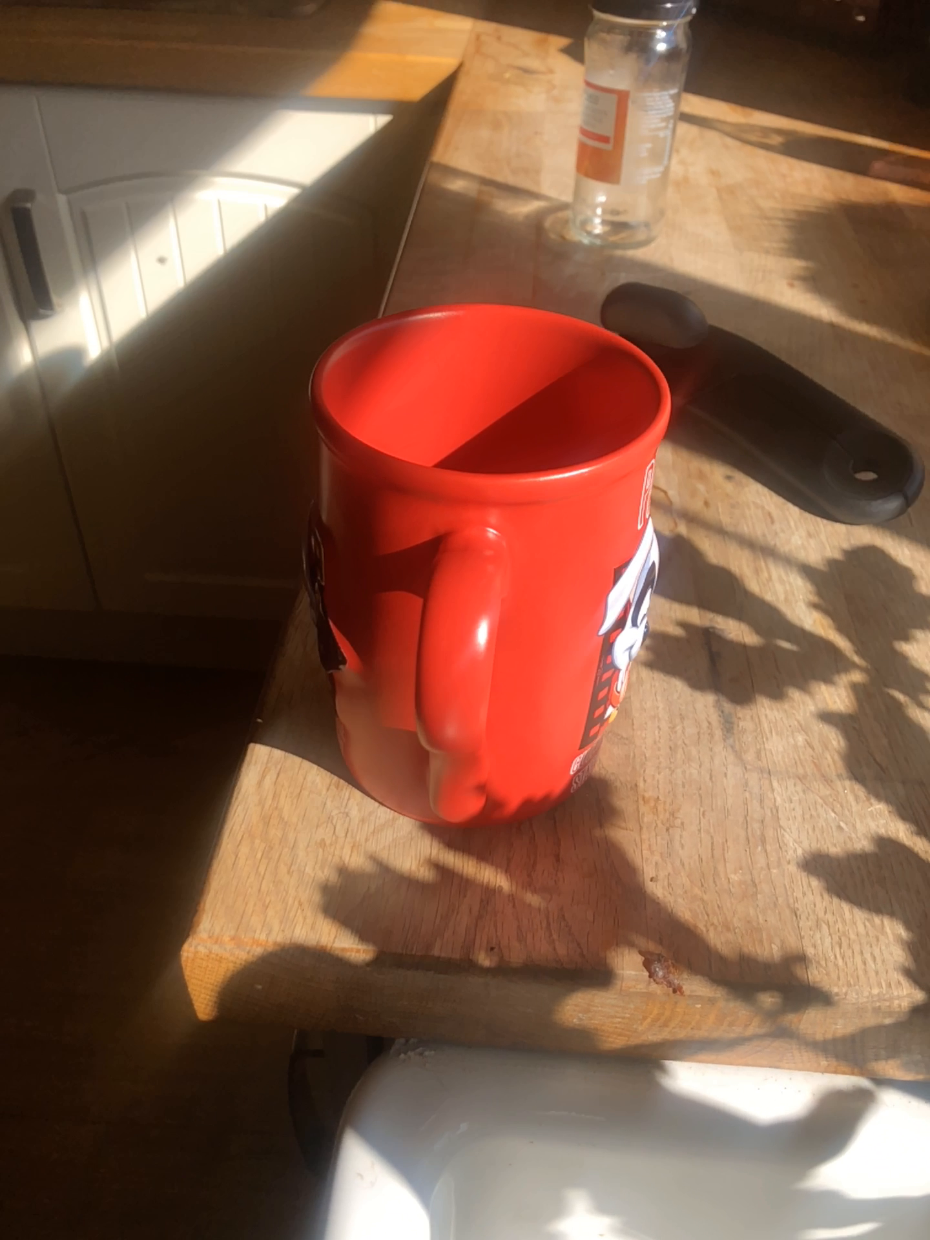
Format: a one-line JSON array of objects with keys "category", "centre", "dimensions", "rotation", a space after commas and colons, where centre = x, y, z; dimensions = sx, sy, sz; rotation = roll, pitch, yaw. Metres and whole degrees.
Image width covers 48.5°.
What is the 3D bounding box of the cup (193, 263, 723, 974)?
[{"category": "cup", "centre": [0.003, -0.004, 0.271], "dimensions": [0.094, 0.119, 0.132], "rotation": [7, 42, 3]}]
